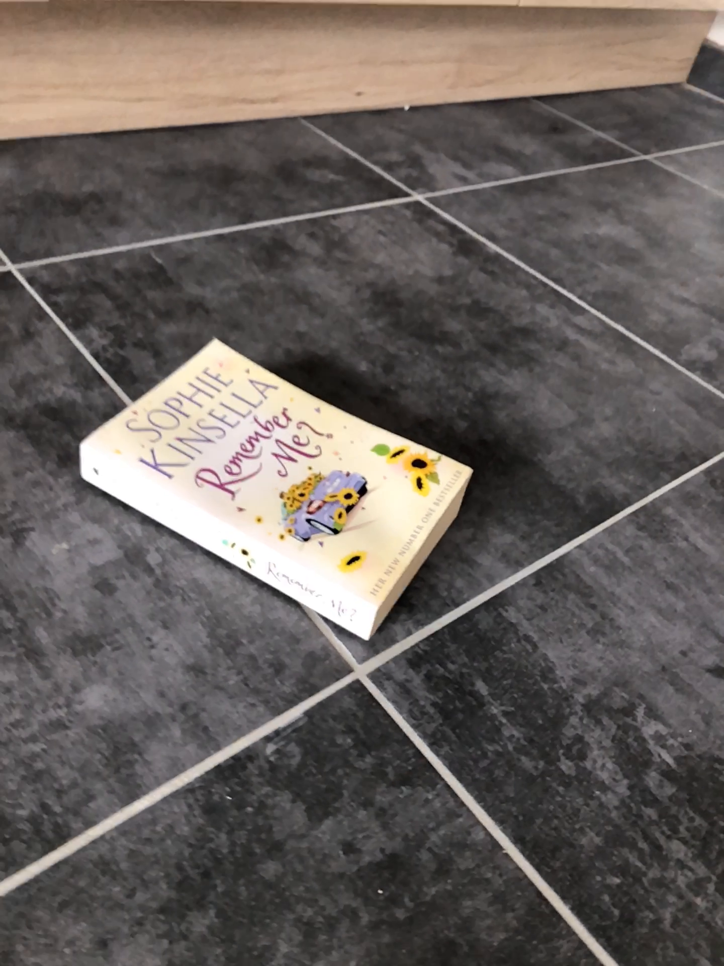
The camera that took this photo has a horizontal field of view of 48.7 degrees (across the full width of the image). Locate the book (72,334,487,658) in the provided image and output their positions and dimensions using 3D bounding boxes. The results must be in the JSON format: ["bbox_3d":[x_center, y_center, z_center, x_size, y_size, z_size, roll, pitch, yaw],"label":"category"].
[{"bbox_3d":[-0.046,-0.003,0.476,0.200,0.040,0.131,27,47,15],"label":"book"}]
